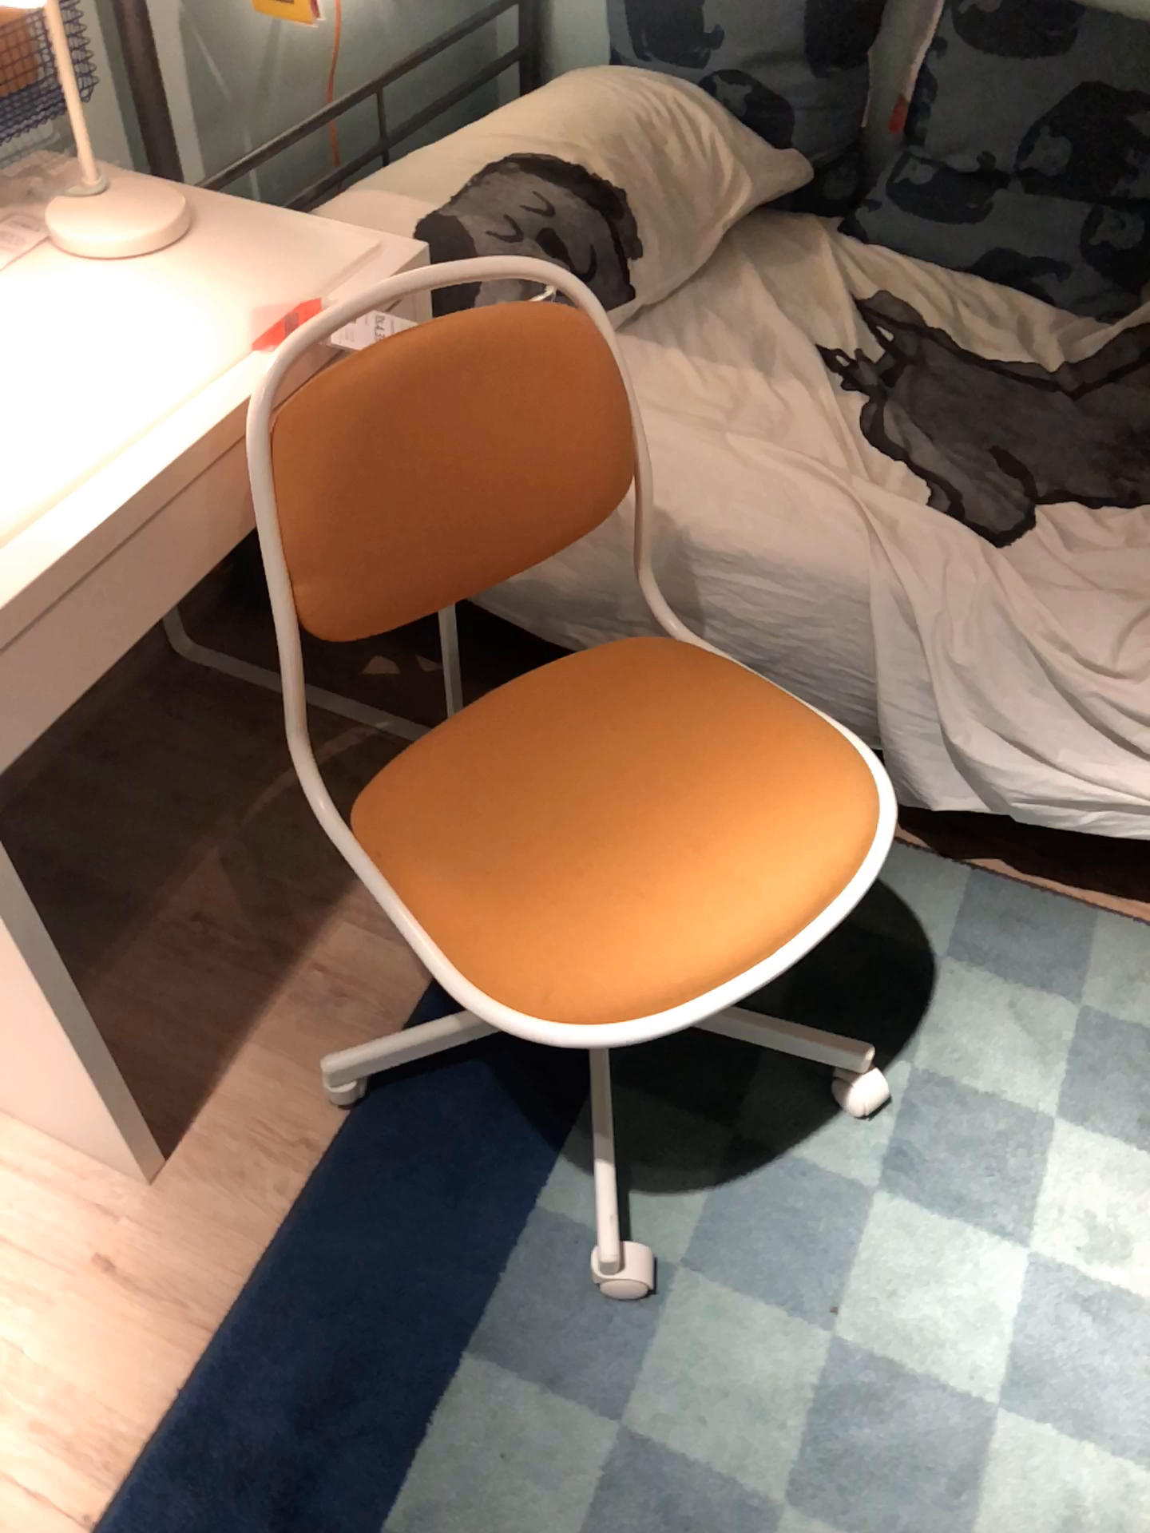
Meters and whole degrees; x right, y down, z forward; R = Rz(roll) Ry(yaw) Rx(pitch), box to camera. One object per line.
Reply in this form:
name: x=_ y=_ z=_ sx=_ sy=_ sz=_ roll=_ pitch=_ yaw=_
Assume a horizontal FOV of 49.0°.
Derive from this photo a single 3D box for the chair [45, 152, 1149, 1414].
chair: x=0.045 y=0.023 z=1.143 sx=0.612 sy=0.795 sz=0.562 roll=-30 pitch=55 yaw=-26
